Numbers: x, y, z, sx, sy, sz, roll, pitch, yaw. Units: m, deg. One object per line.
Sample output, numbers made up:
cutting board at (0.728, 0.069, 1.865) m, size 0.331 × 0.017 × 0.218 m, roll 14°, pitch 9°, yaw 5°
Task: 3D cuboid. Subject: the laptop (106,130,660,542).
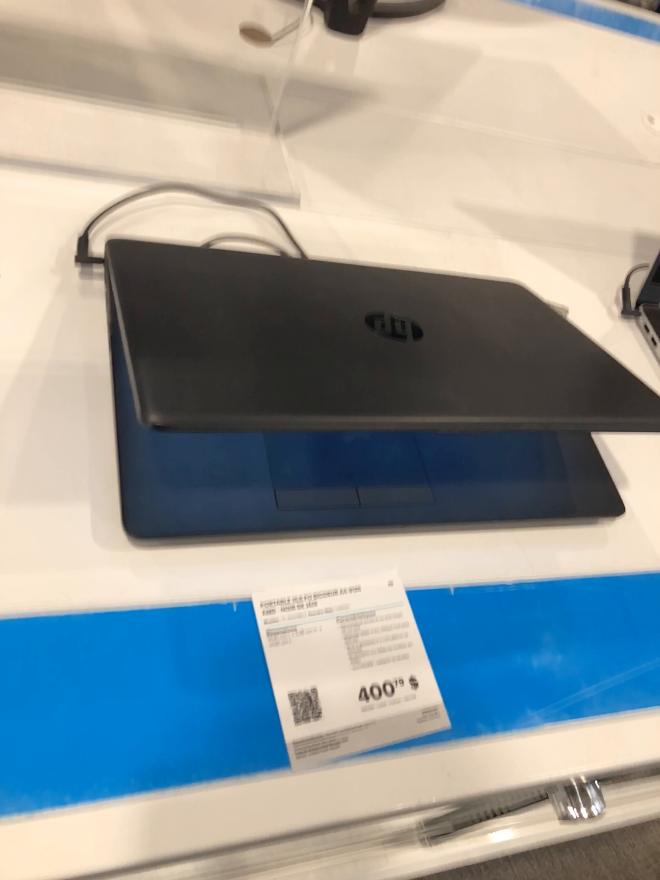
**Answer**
laptop at (0.044, -0.067, 0.499) m, size 0.367 × 0.092 × 0.234 m, roll 1°, pitch 55°, yaw -27°
